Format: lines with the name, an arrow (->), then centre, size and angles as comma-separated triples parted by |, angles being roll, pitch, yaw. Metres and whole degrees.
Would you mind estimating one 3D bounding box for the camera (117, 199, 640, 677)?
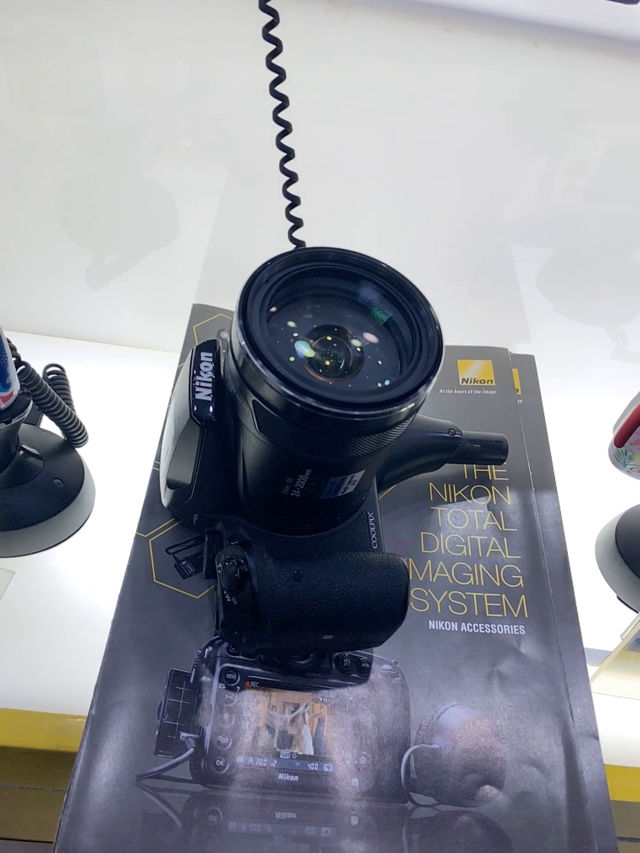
camera -> 0.032, 0.013, 0.264 | 0.200, 0.100, 0.140 | 6, 51, -16
